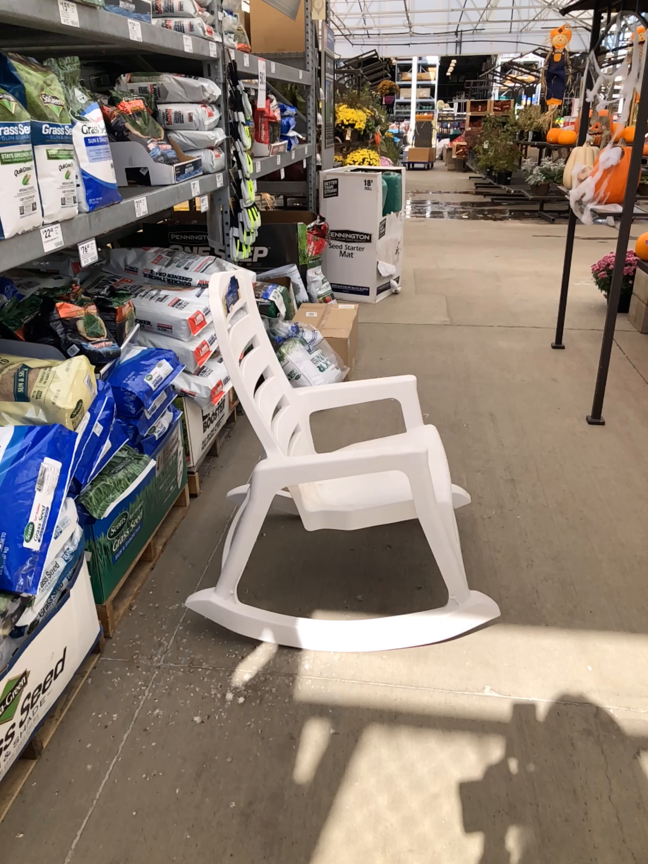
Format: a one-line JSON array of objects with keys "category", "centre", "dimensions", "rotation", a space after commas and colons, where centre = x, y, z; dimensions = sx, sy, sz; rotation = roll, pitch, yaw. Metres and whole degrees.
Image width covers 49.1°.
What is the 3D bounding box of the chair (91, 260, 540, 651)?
[{"category": "chair", "centre": [-0.004, 0.016, 2.189], "dimensions": [1.031, 0.928, 0.848], "rotation": [-1, 22, 2]}]
